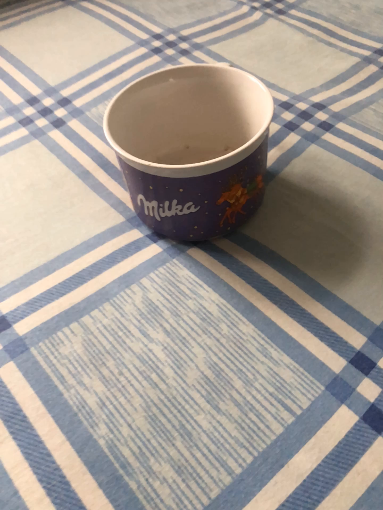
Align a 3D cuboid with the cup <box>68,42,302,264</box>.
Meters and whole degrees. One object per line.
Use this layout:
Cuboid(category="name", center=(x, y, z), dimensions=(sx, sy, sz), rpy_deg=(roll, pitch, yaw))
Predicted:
Cuboid(category="cup", center=(0.004, -0.076, 0.288), dimensions=(0.104, 0.063, 0.131), rpy_deg=(16, 53, 14))
